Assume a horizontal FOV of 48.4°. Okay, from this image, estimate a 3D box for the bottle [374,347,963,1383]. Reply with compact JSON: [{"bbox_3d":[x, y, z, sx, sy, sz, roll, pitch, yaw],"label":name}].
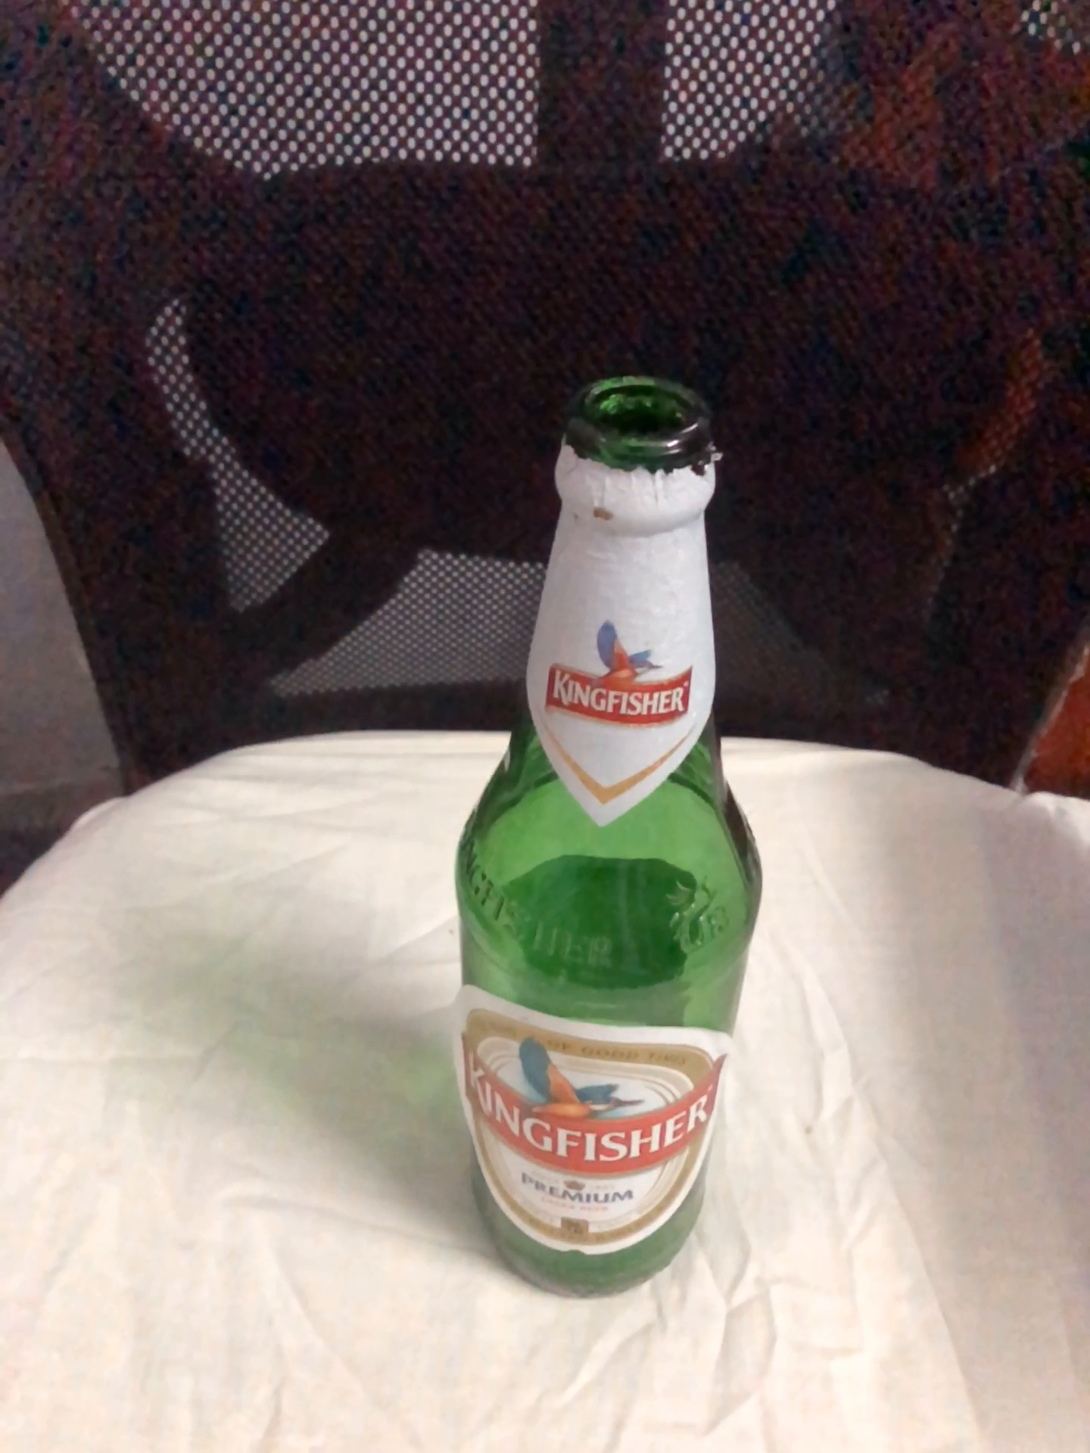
[{"bbox_3d":[0.020,0.056,0.276,0.080,0.259,0.070,10,44,8],"label":"bottle"}]
